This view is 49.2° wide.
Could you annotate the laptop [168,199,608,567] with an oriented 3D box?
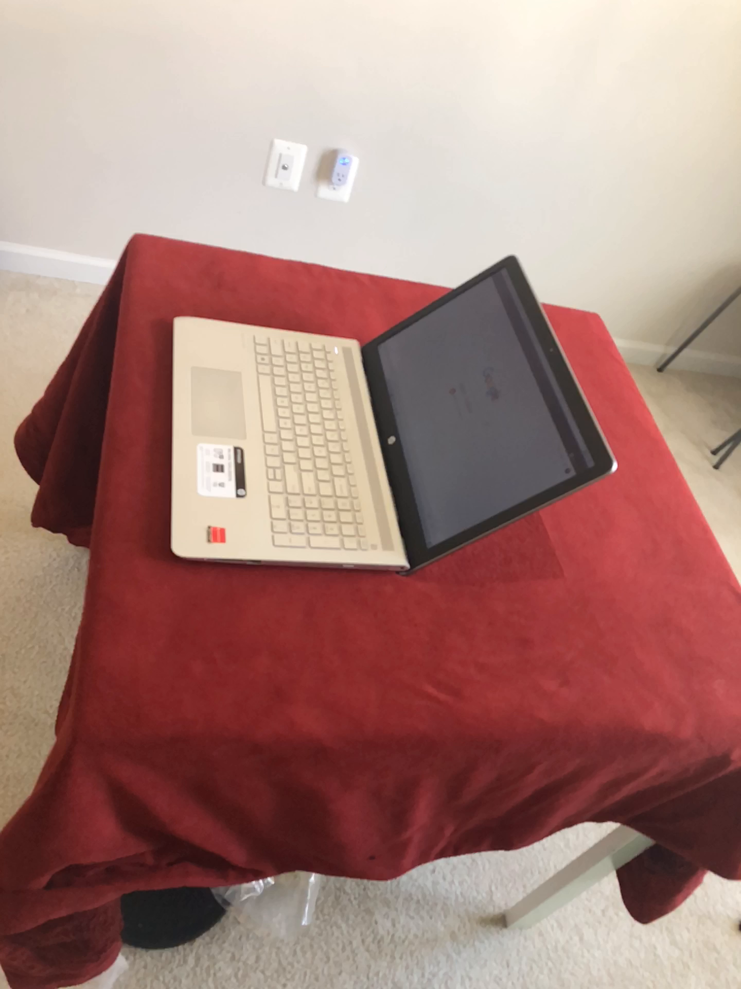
[{"bbox_3d":[-0.008,-0.123,0.888,0.395,0.158,0.361,4,47,-17],"label":"laptop"}]
